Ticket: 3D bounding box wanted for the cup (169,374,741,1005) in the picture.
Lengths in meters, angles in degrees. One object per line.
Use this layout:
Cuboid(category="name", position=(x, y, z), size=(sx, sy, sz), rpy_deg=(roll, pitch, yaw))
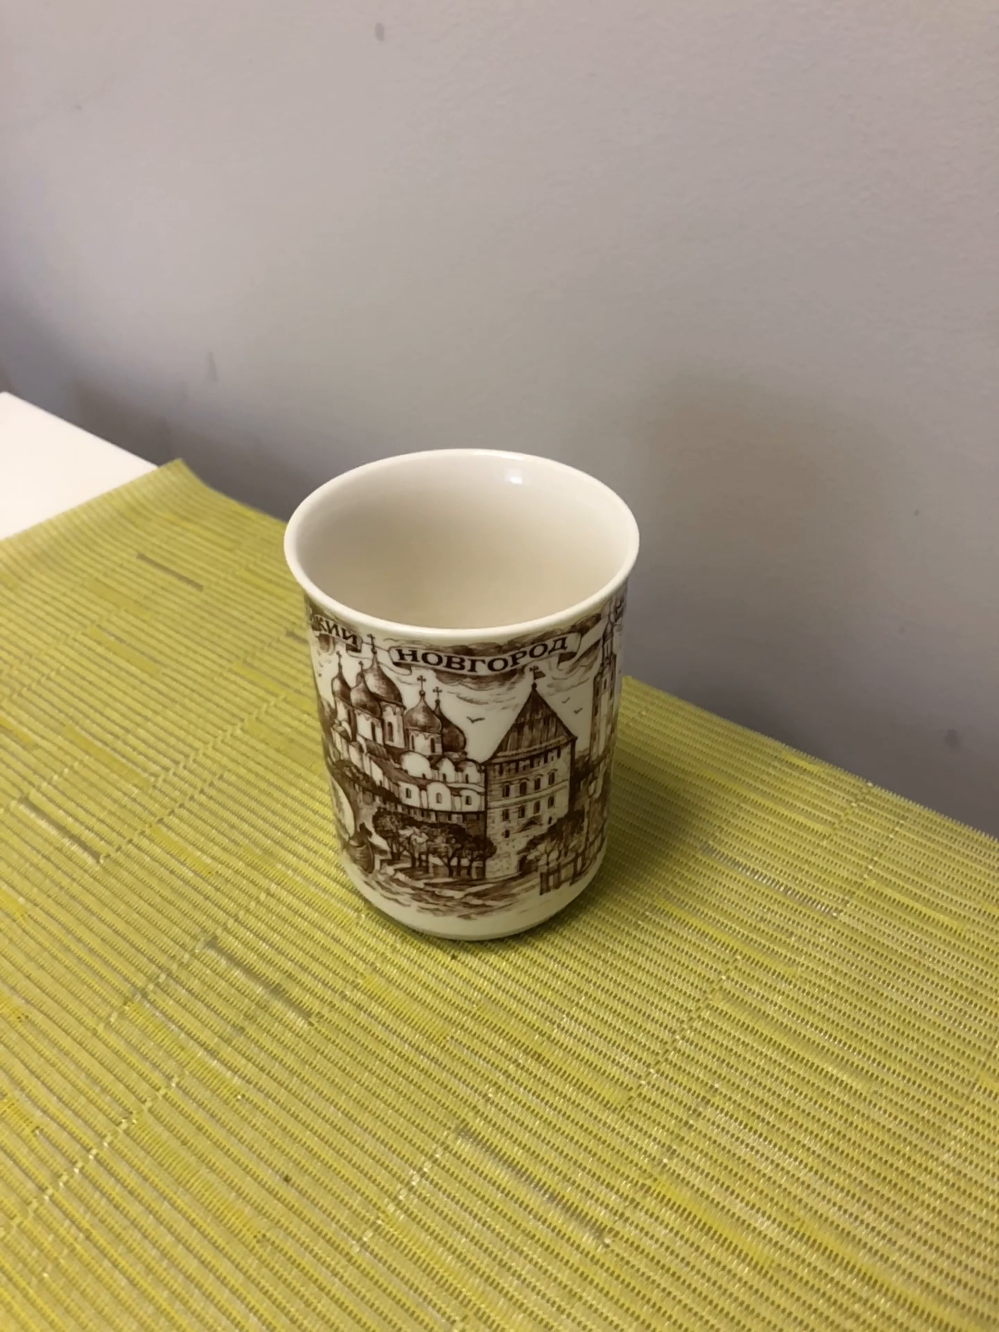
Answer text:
Cuboid(category="cup", position=(-0.018, -0.003, 0.296), size=(0.094, 0.092, 0.124), rpy_deg=(-17, 40, -21))
